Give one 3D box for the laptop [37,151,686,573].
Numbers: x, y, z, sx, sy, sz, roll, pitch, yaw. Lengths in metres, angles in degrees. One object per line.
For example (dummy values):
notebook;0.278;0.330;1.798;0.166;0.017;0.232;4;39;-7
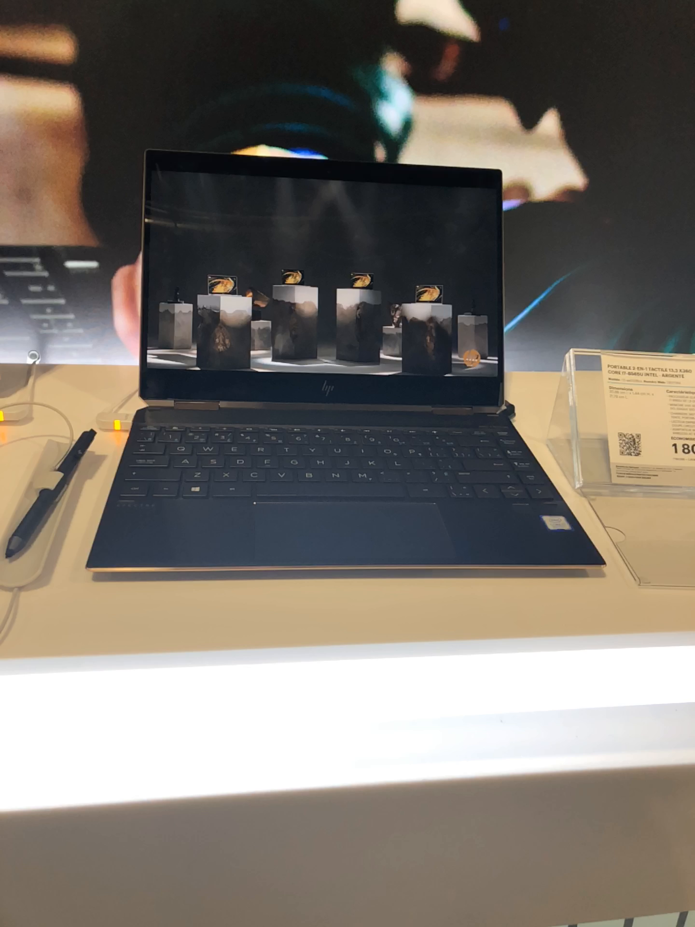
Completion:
laptop;-0.007;-0.100;0.547;0.305;0.172;0.347;0;29;-7
